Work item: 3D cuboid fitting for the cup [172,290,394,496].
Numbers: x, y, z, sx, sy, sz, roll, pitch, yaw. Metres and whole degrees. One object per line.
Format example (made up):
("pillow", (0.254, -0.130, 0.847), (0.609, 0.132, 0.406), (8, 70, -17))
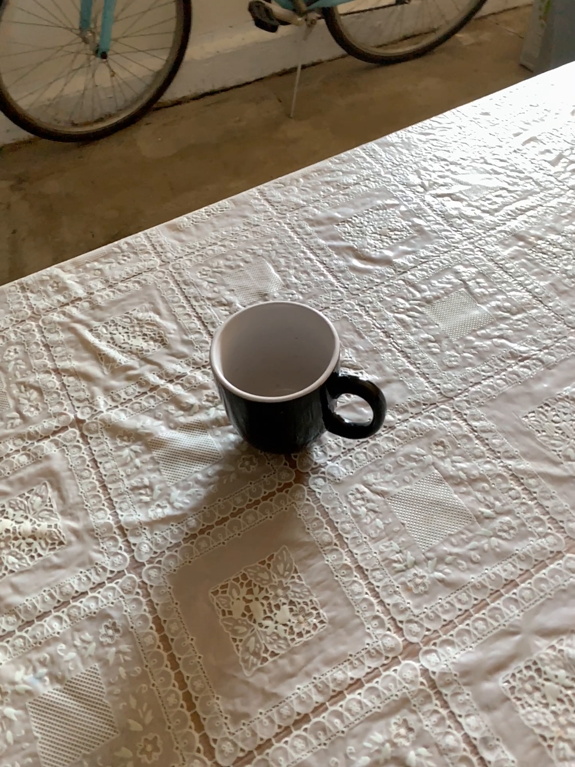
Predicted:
("cup", (0.002, 0.006, 0.441), (0.130, 0.090, 0.090), (15, 56, 17))
